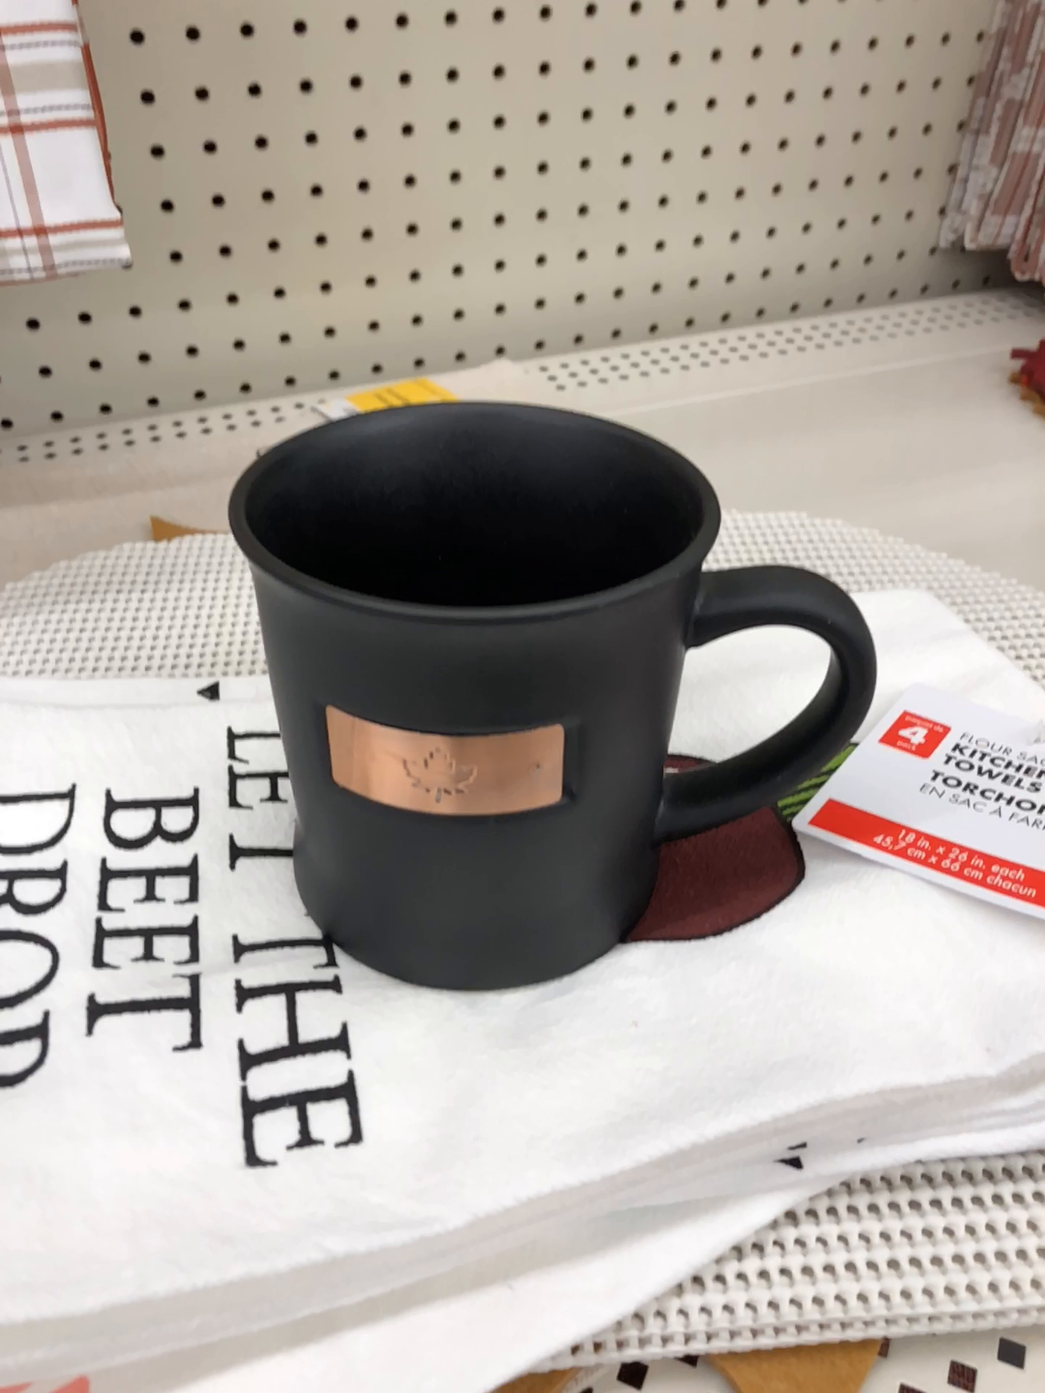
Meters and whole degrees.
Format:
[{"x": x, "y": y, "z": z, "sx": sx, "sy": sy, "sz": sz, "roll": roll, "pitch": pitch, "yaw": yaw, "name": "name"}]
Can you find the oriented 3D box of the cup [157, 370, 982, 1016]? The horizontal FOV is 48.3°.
[{"x": 0.008, "y": -0.003, "z": 0.271, "sx": 0.140, "sy": 0.110, "sz": 0.100, "roll": 1, "pitch": 38, "yaw": 1, "name": "cup"}]
